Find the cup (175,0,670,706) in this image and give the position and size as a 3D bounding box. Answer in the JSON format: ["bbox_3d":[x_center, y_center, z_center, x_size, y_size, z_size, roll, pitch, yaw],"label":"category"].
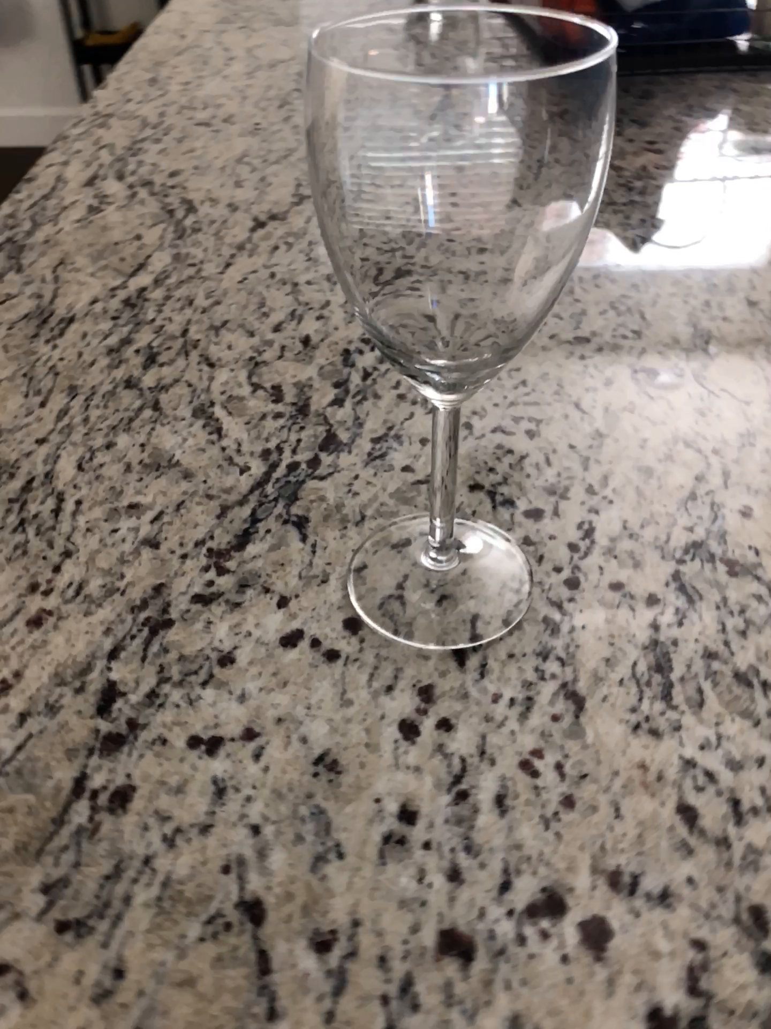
[{"bbox_3d":[0.012,-0.043,0.243,0.080,0.169,0.081,0,40,0],"label":"cup"}]
